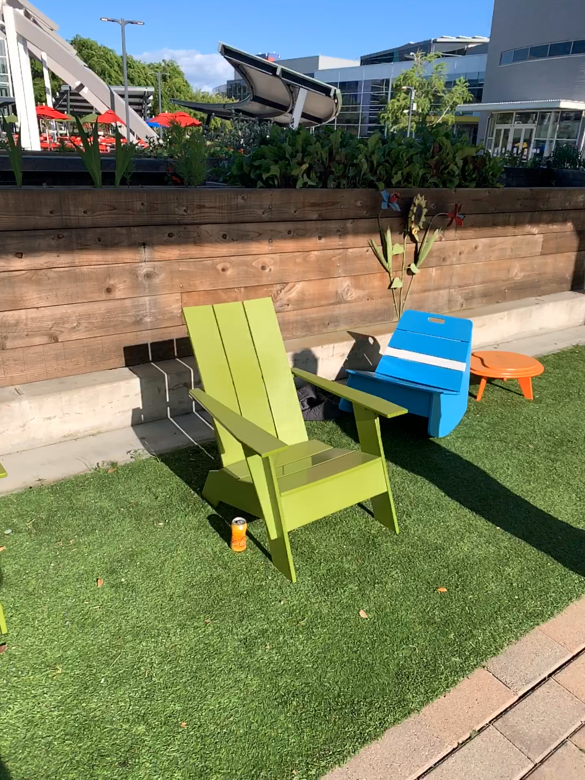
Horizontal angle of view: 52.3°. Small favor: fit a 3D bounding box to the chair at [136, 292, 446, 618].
[{"bbox_3d":[-0.067,0.163,2.604,0.850,0.896,1.004,-12,27,-33],"label":"chair"}]
